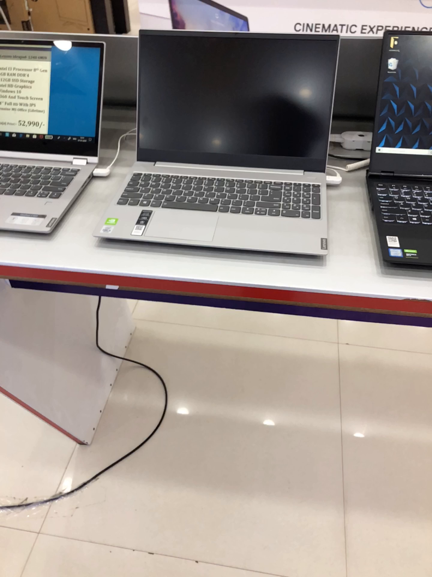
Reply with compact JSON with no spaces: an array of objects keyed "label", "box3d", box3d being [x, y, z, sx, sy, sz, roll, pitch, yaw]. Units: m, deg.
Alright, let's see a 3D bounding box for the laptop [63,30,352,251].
[{"label":"laptop","box3d":[0.011,-0.252,0.751,0.341,0.196,0.346,5,42,7]}]
